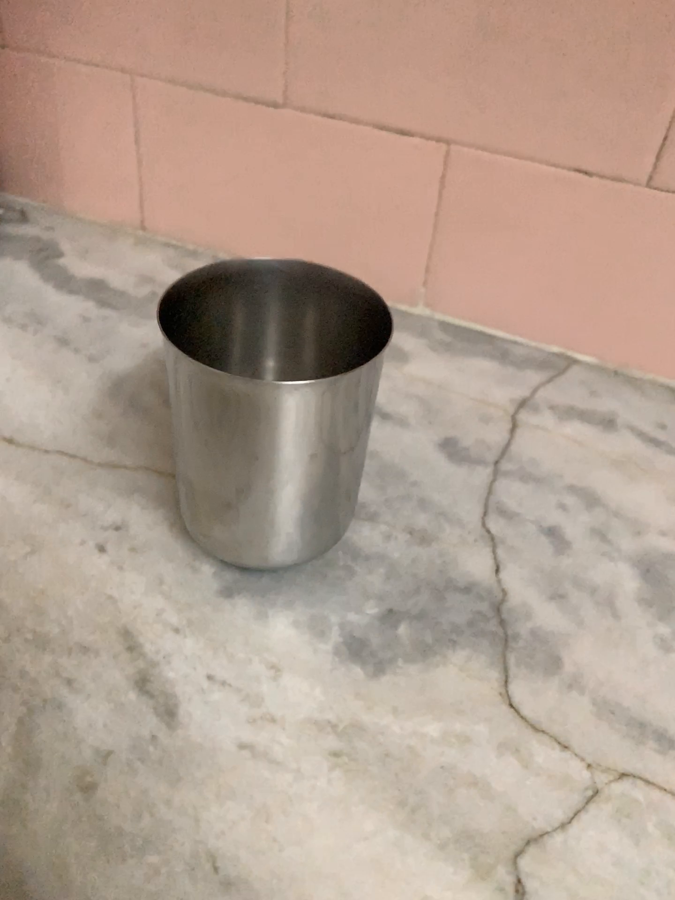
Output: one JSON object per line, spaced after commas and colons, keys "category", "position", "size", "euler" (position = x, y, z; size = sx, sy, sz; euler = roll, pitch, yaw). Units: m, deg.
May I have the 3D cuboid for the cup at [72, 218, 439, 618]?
{"category": "cup", "position": [-0.027, -0.015, 0.248], "size": [0.080, 0.090, 0.080], "euler": [3, 40, -3]}
